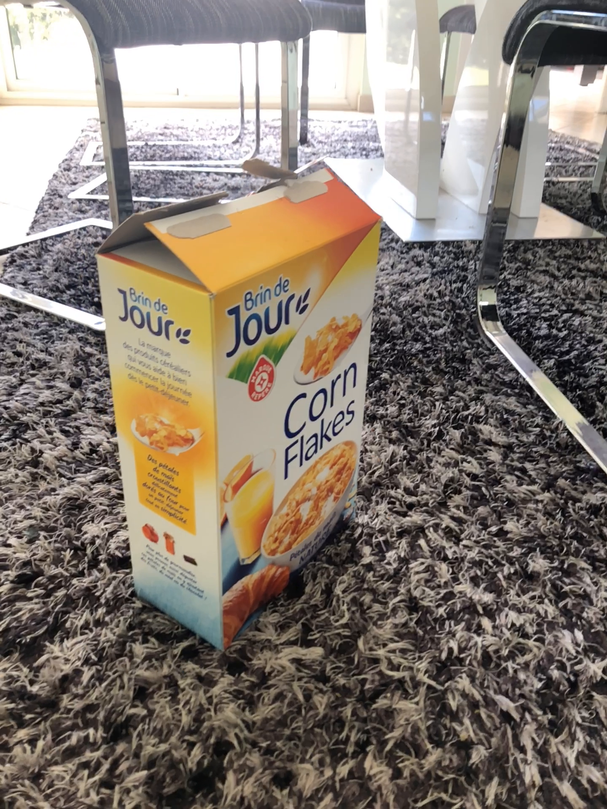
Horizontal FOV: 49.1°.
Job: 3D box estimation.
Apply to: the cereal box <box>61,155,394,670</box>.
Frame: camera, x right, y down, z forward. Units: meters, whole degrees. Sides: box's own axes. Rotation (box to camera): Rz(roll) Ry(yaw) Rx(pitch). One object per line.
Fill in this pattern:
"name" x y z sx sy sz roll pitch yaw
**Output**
"cereal box" -0.039 -0.002 0.489 0.100 0.308 0.201 20 34 29
